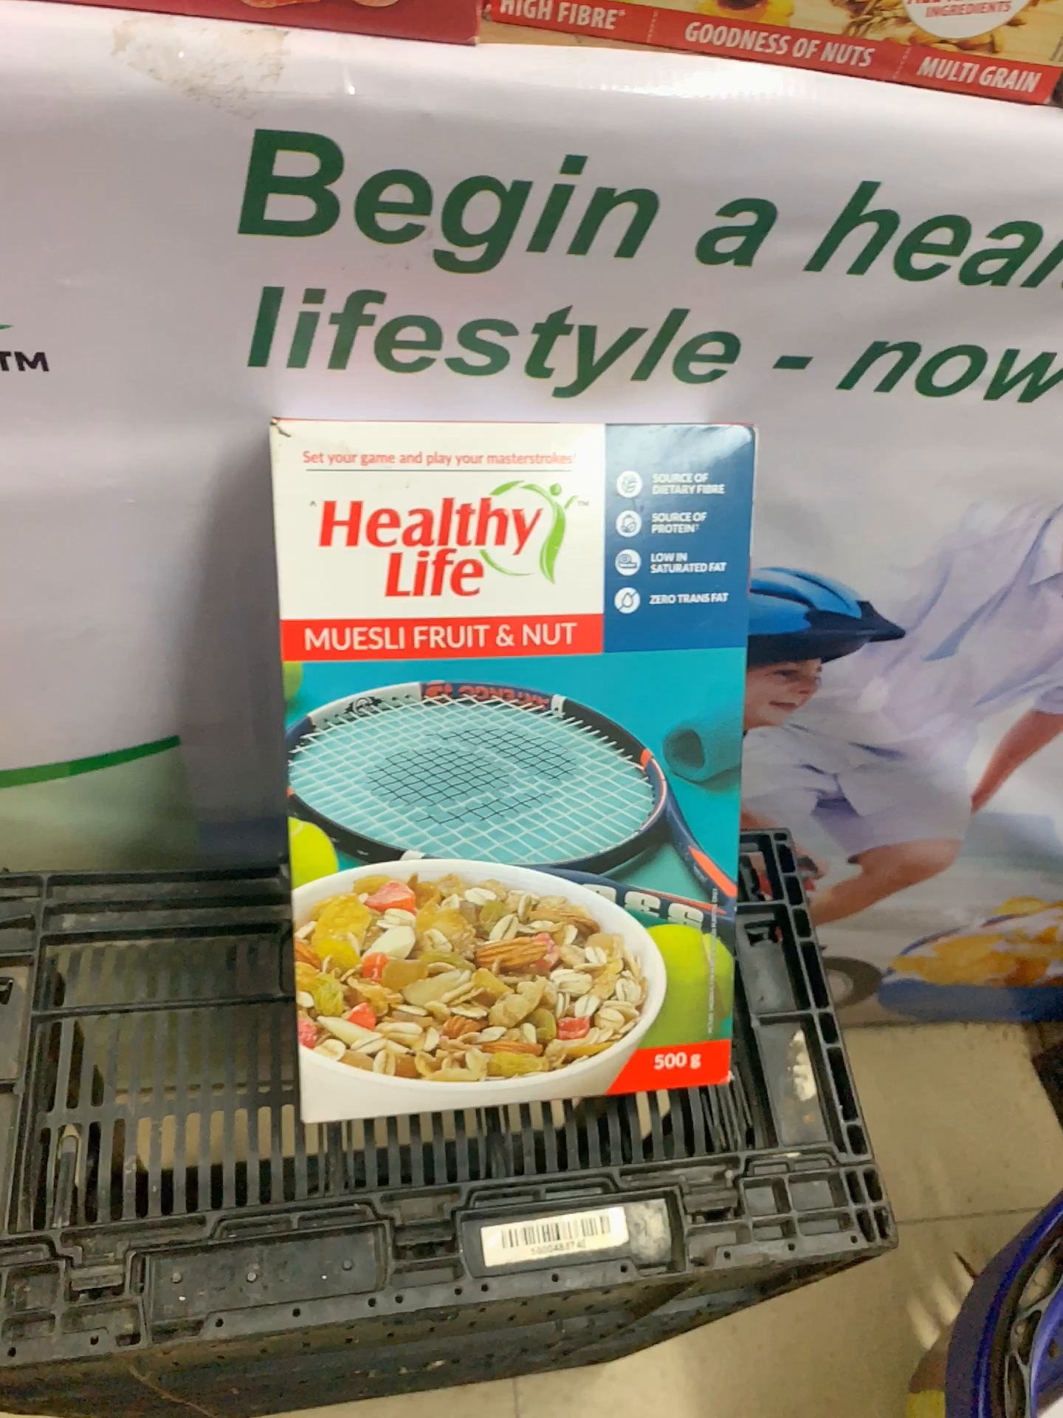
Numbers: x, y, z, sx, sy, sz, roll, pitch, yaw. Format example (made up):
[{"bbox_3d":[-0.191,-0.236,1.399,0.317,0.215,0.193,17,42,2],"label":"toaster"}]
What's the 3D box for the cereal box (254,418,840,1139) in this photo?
[{"bbox_3d":[0.003,0.021,0.412,0.190,0.250,0.070,-2,14,-9],"label":"cereal box"}]
